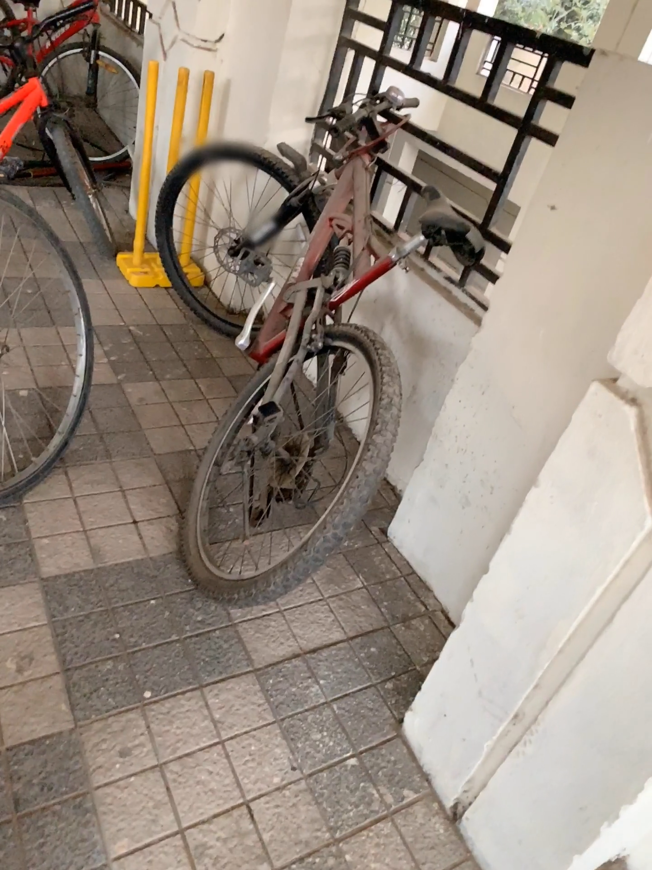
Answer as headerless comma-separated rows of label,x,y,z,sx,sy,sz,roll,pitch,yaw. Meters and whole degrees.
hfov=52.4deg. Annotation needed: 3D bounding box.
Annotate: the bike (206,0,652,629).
bike,0.156,-0.478,1.705,0.609,0.830,1.471,1,45,-23
